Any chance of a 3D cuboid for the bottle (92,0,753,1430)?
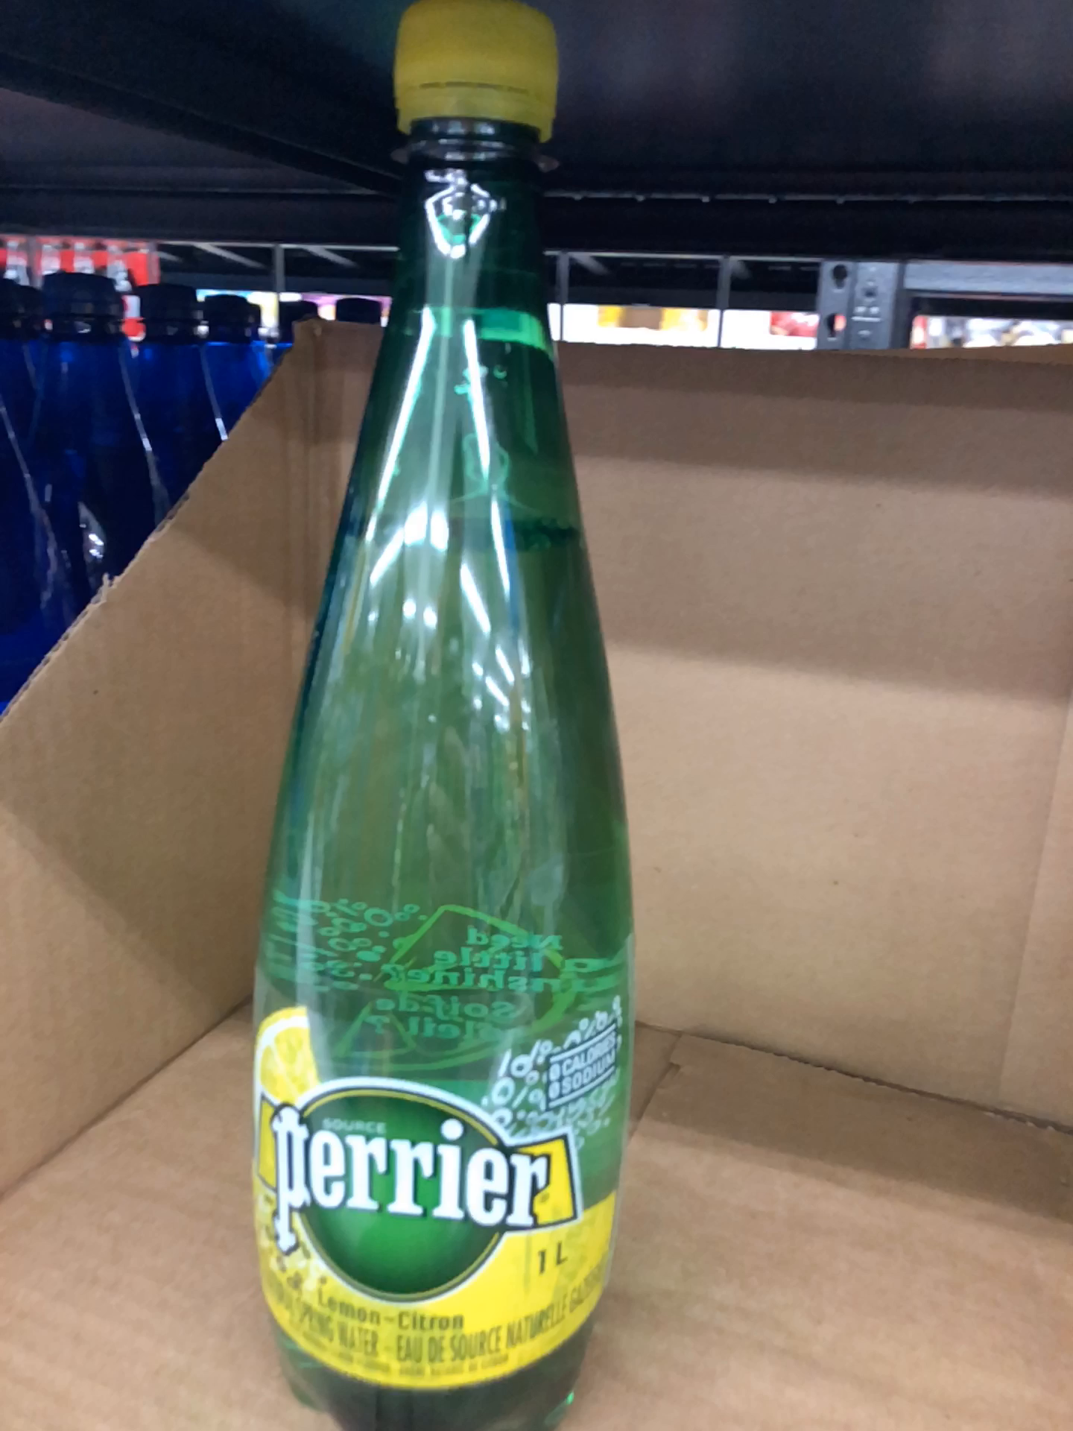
[{"bbox_3d":[-0.021,0.013,0.262,0.100,0.318,0.080,7,17,13],"label":"bottle"}]
